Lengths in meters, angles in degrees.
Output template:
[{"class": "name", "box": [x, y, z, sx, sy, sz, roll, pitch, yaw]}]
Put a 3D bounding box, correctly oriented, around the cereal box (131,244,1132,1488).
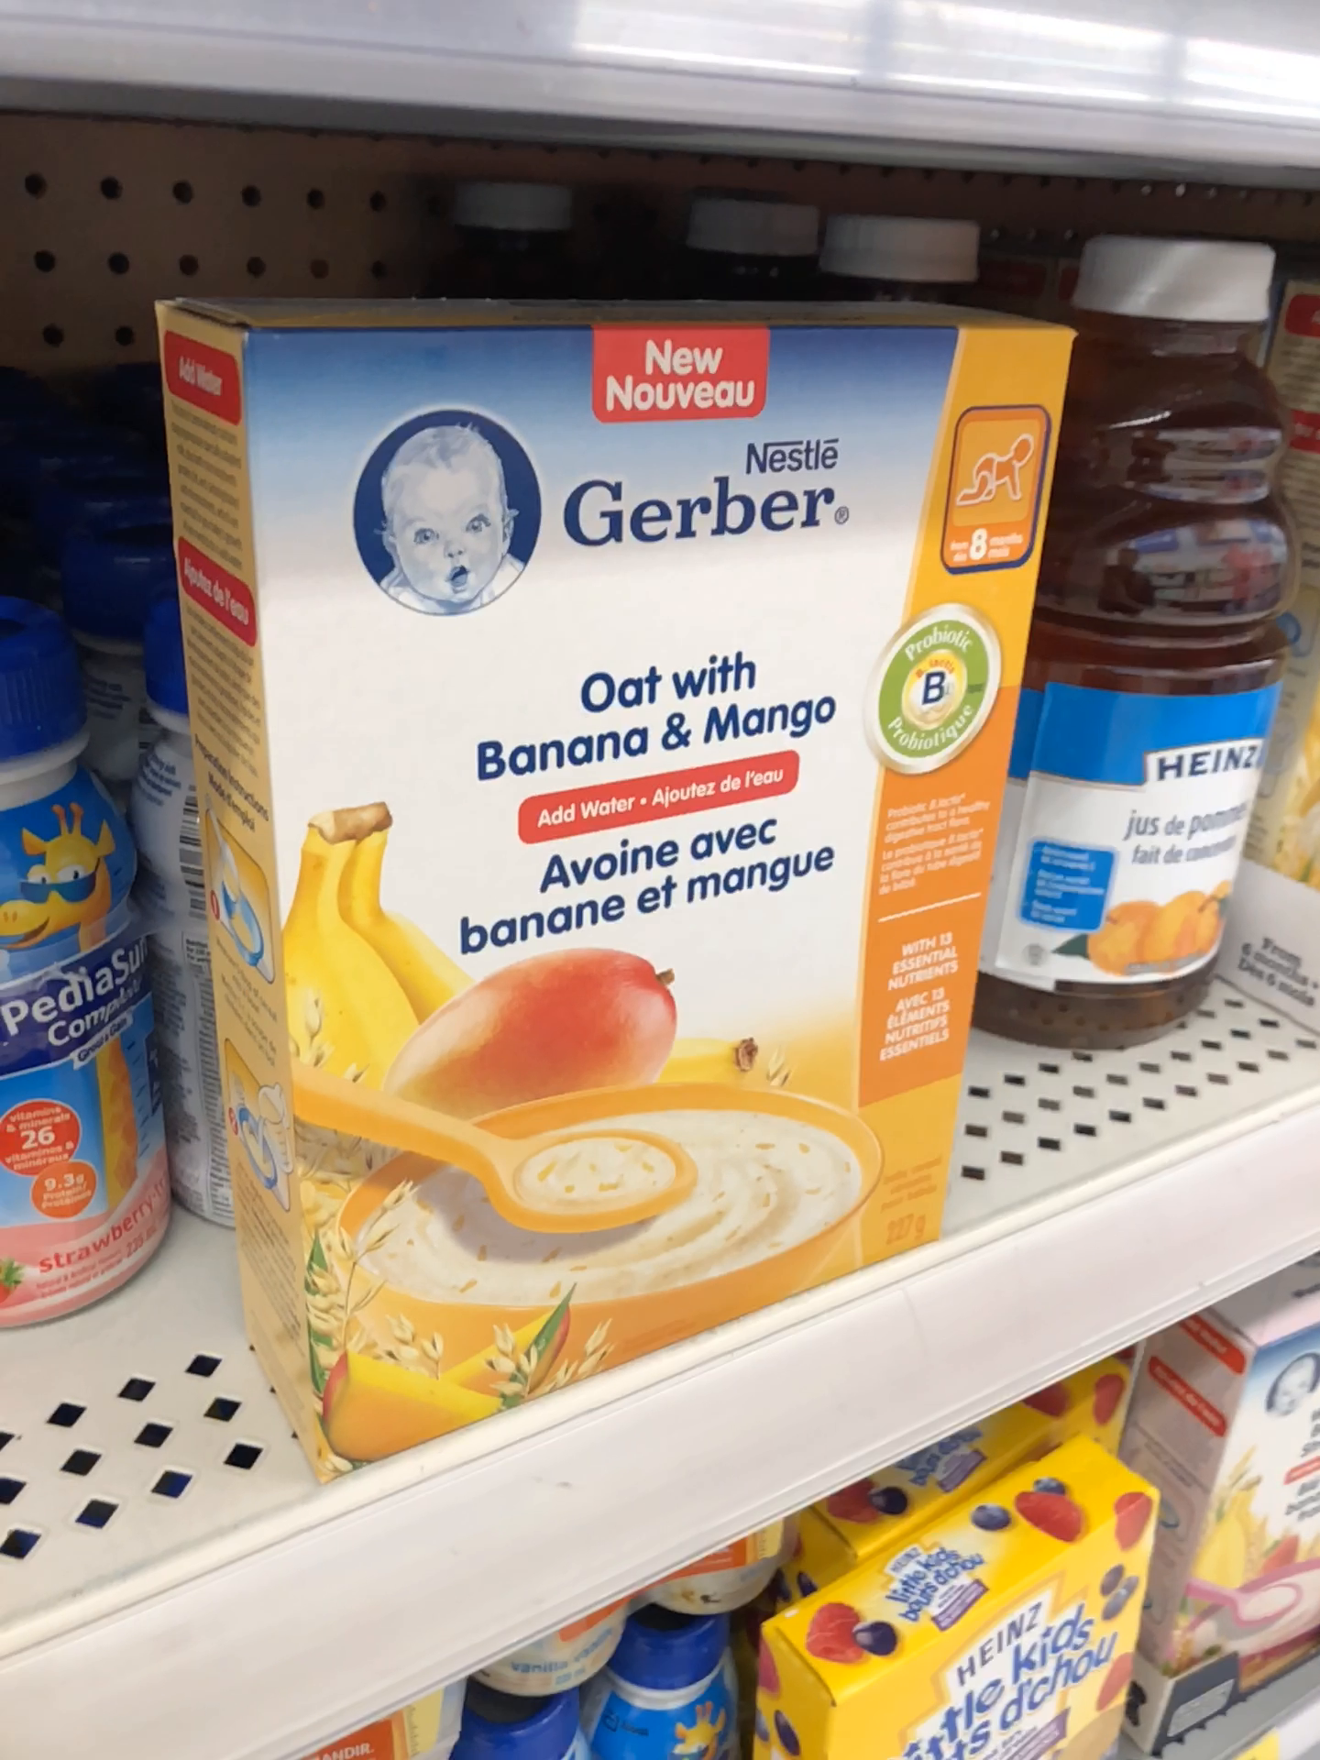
[{"class": "cereal box", "box": [-0.003, -0.005, 0.258, 0.150, 0.189, 0.040, -11, 29, -30]}]
